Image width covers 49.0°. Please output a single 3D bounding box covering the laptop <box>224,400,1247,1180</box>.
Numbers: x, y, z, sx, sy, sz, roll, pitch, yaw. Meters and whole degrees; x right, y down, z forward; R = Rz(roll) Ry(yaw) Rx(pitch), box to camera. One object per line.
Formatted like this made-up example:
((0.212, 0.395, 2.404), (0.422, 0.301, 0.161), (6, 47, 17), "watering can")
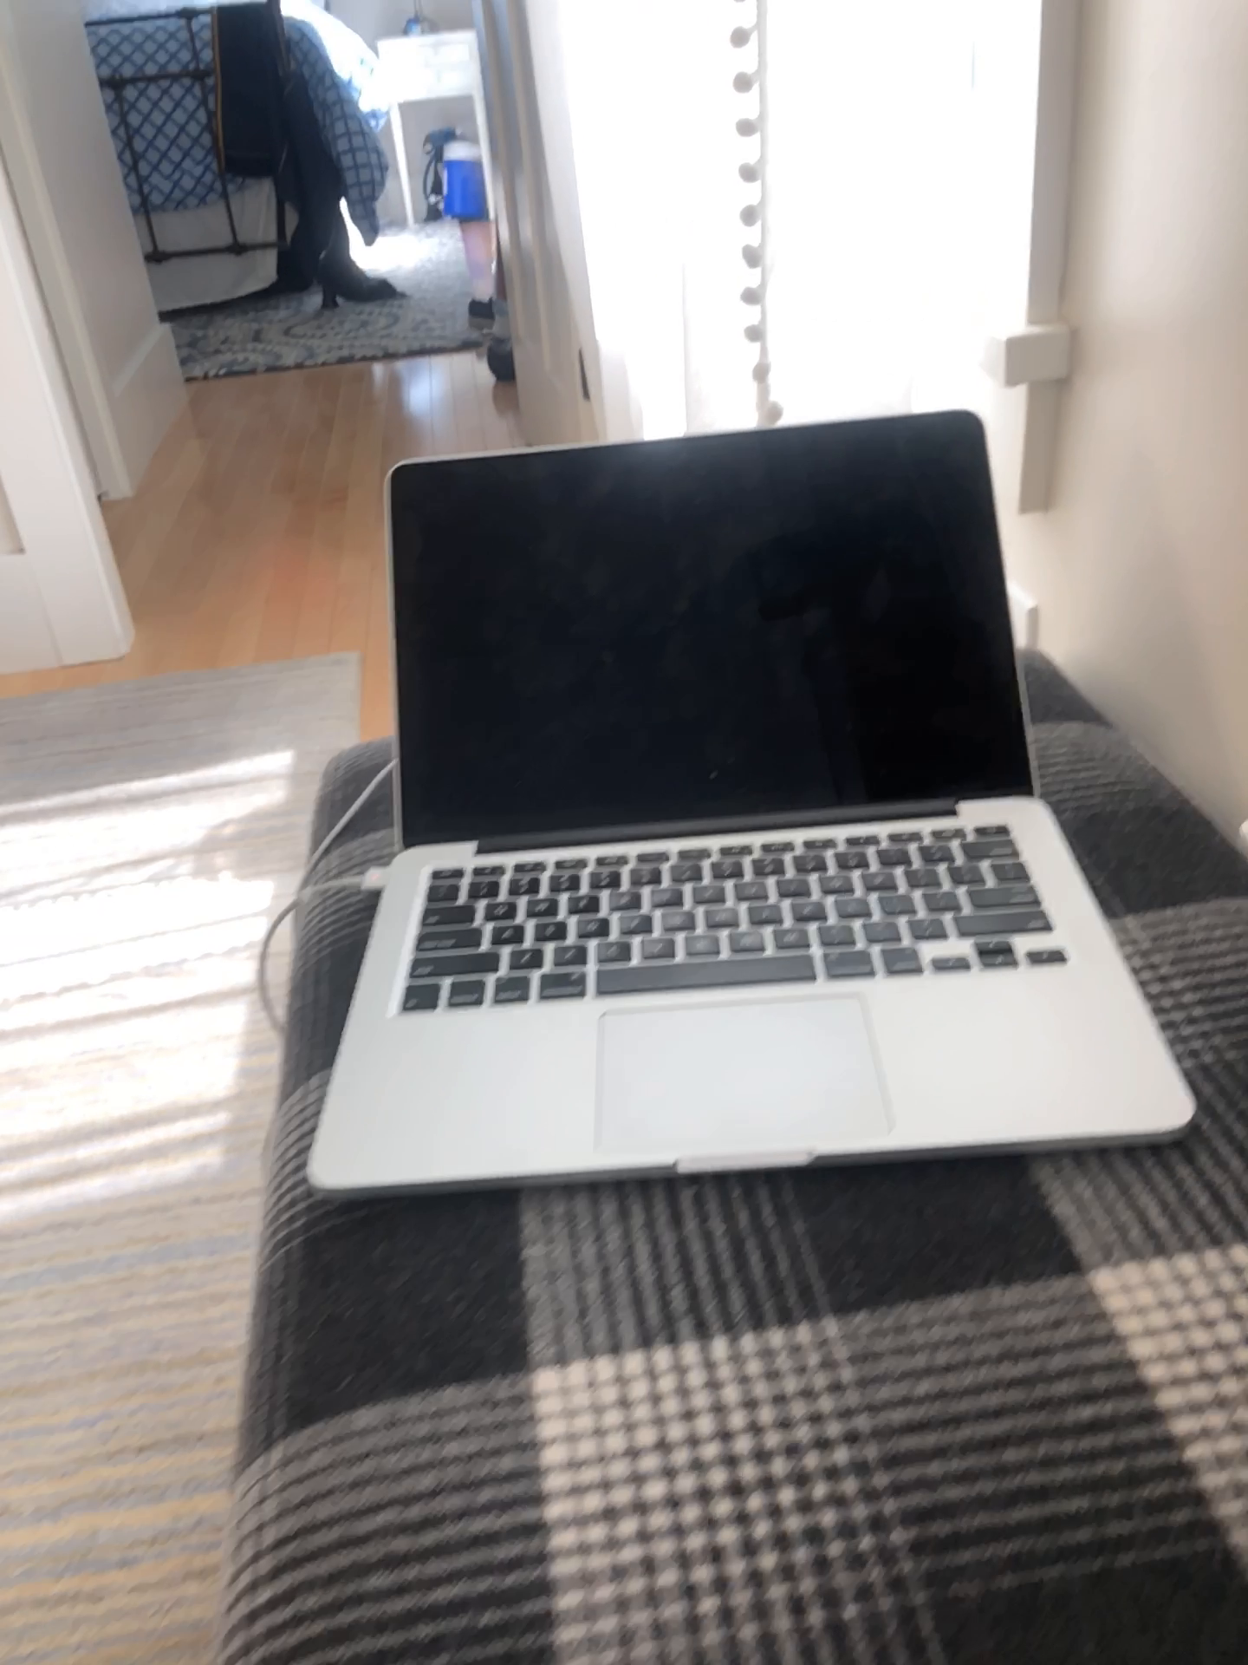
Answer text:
((0.041, -0.050, 0.595), (0.306, 0.142, 0.368), (-5, 32, 4), "laptop")
